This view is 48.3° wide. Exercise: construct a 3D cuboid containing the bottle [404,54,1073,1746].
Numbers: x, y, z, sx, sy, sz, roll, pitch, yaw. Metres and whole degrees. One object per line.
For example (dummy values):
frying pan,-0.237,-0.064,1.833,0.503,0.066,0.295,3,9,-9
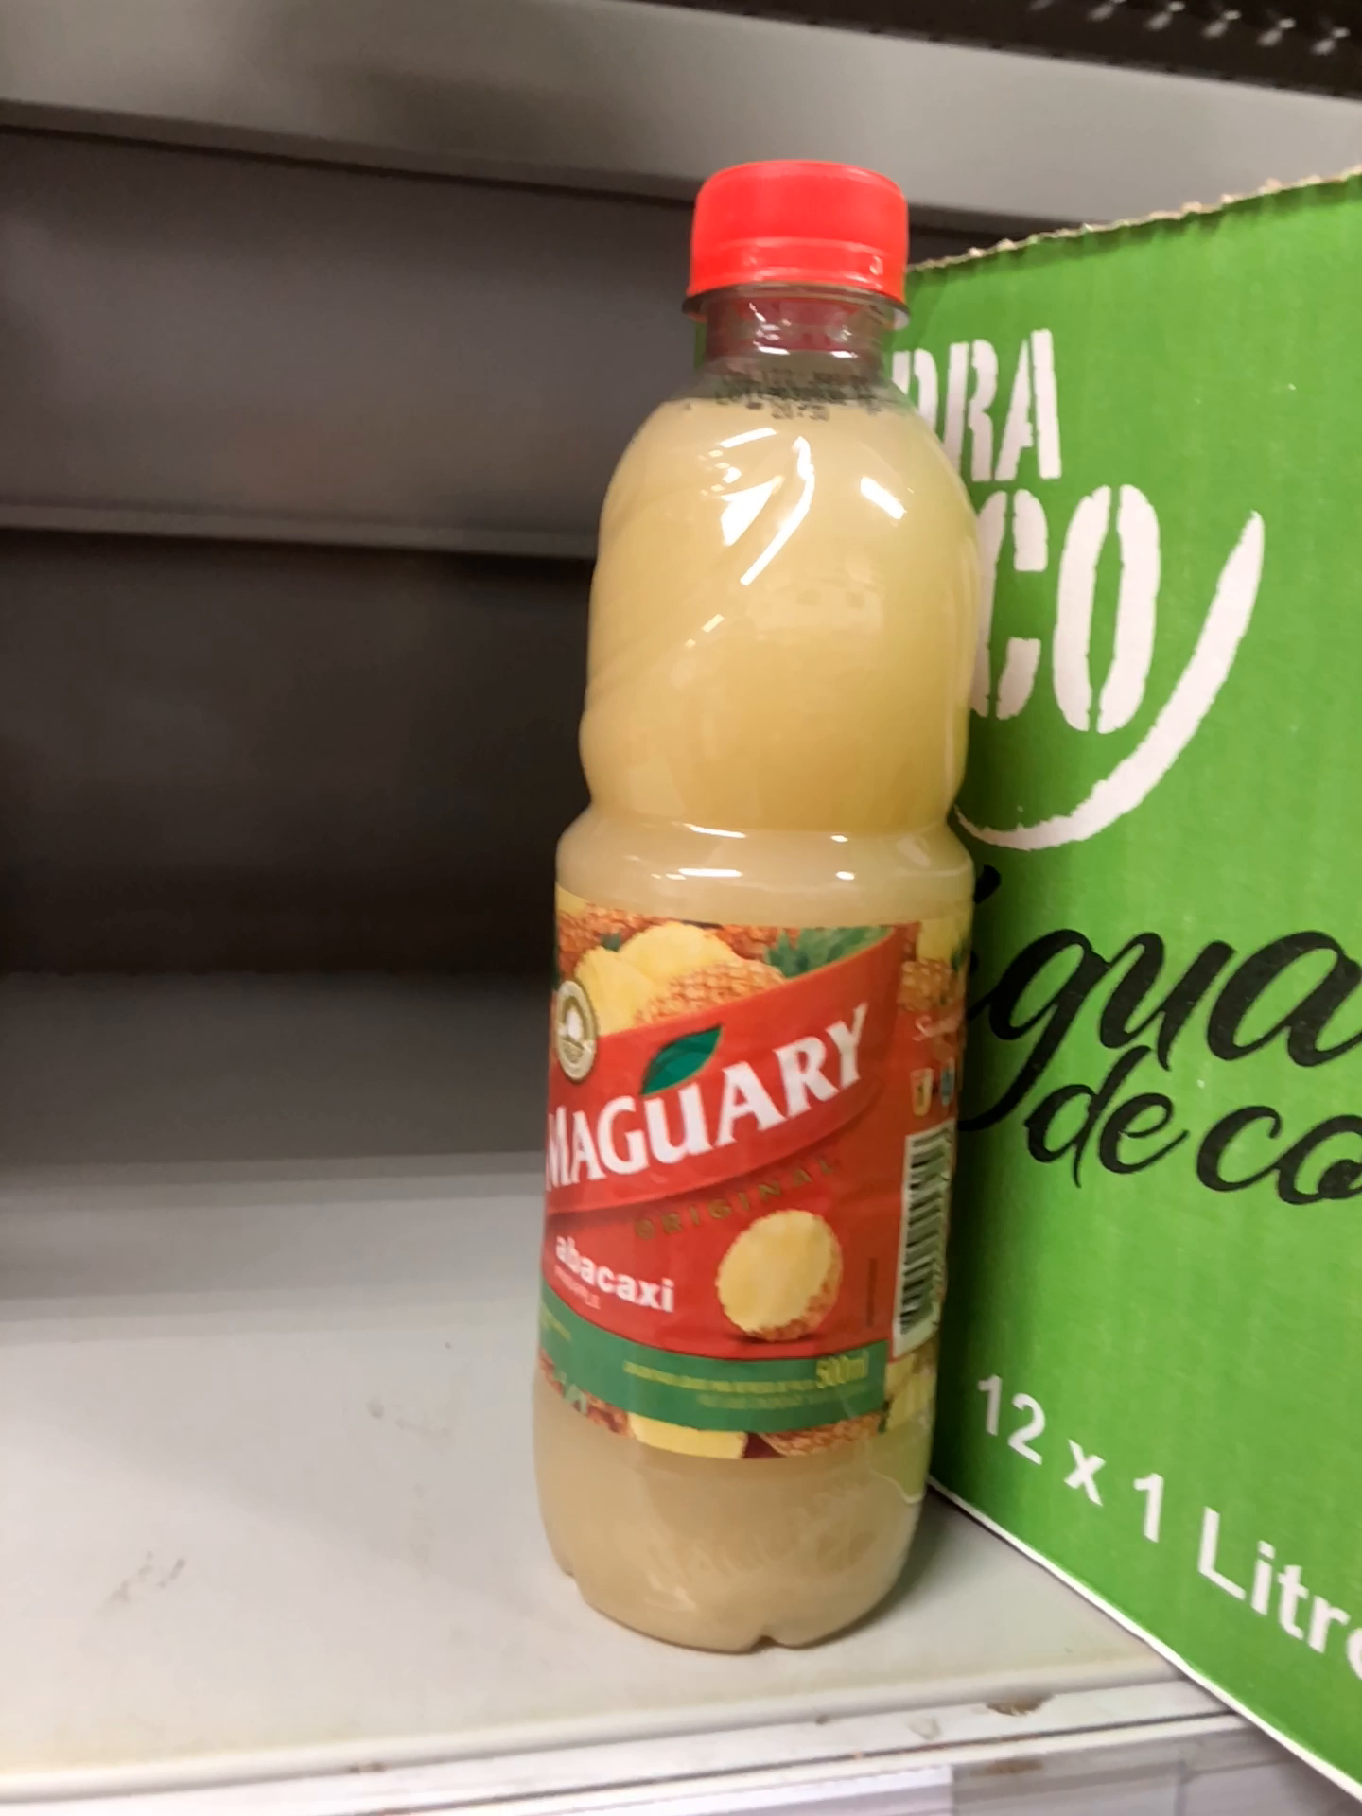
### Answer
bottle,0.006,0.000,0.227,0.070,0.209,0.060,9,13,29
